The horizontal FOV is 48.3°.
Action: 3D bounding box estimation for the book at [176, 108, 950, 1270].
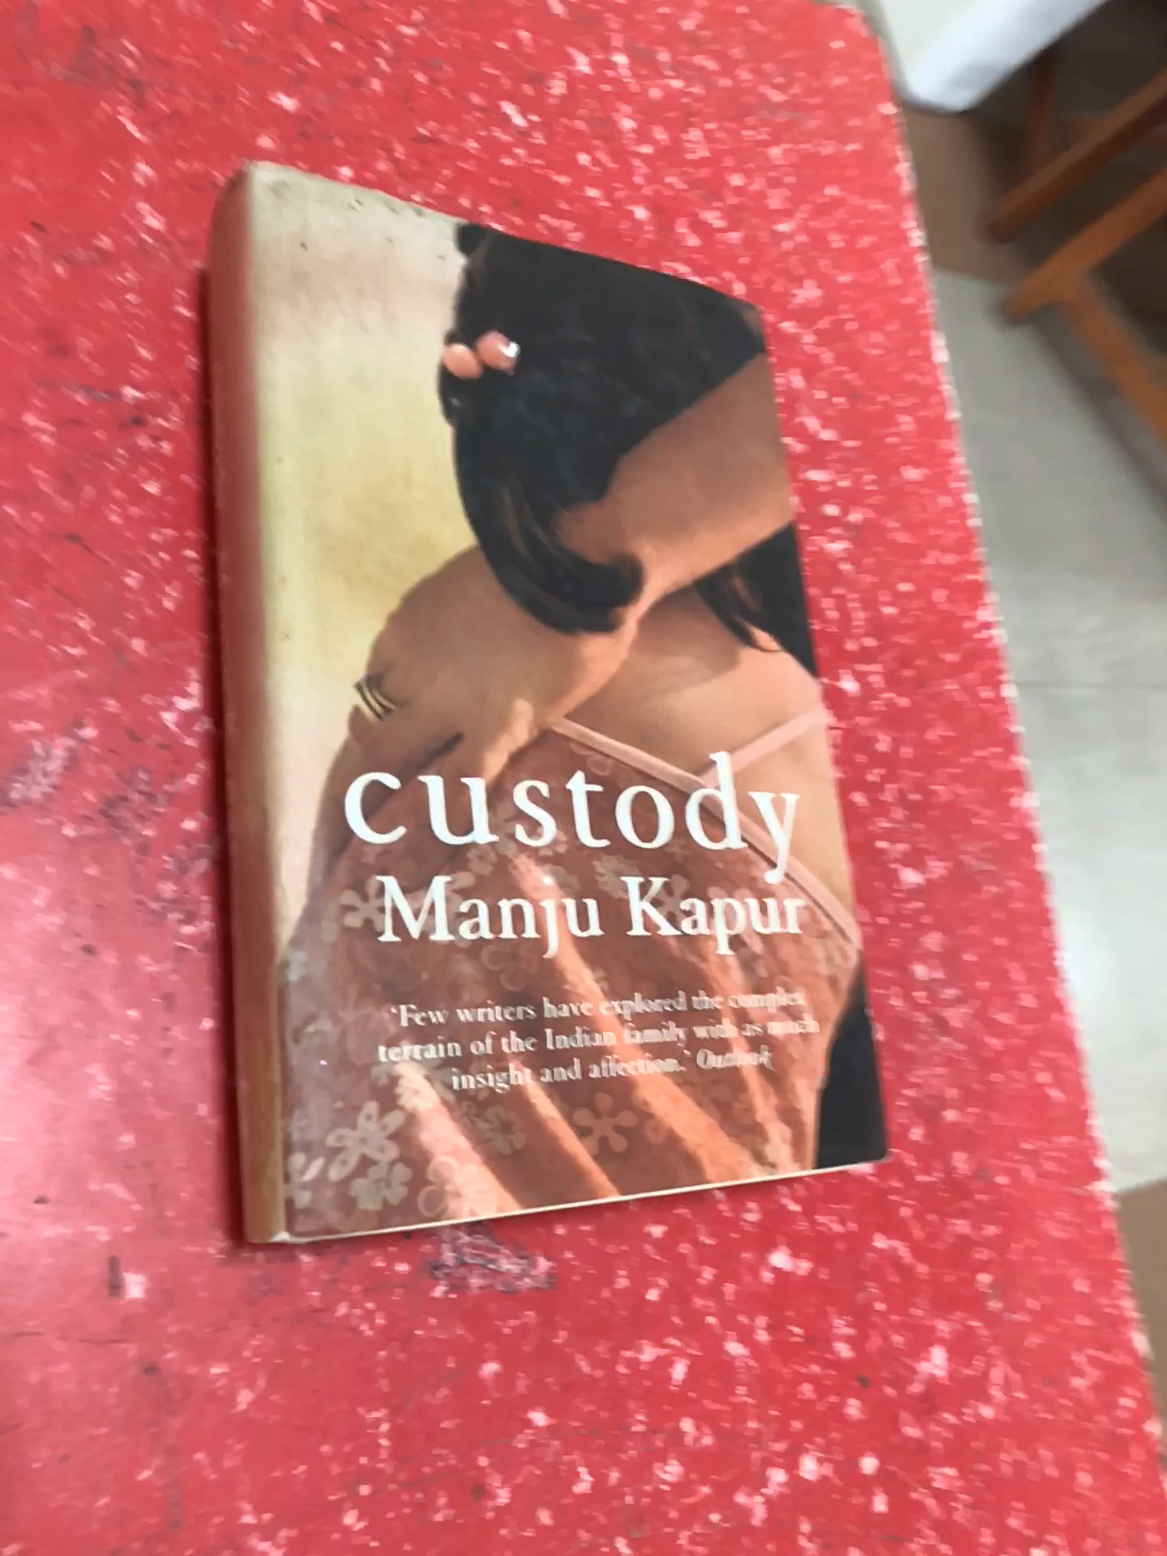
[{"bbox_3d":[-0.008,-0.021,0.283,0.141,0.040,0.220,2,72,-30],"label":"book"}]
